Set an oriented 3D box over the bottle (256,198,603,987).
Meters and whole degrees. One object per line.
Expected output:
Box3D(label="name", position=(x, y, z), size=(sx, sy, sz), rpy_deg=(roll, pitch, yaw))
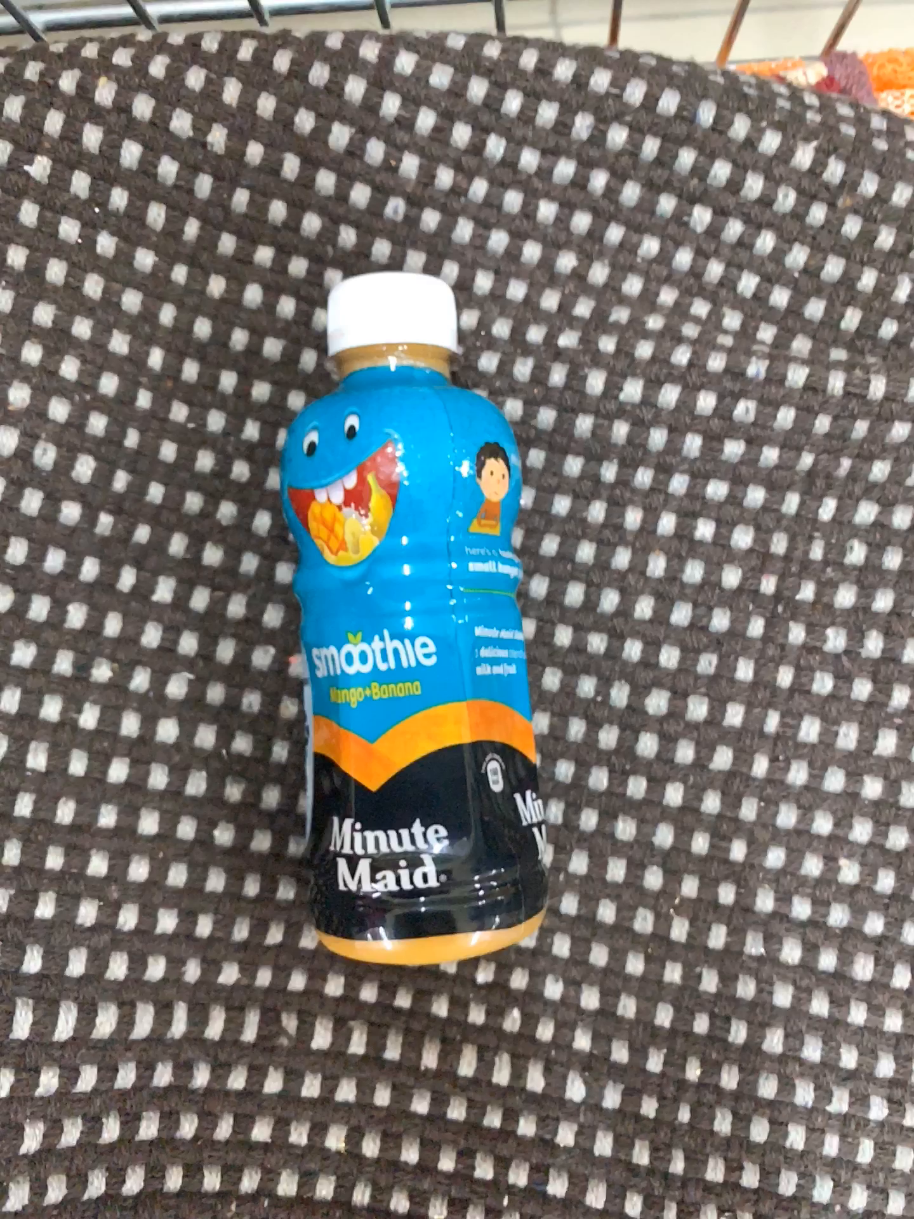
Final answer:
Box3D(label="bottle", position=(-0.007, -0.004, 0.218), size=(0.060, 0.040, 0.160), rpy_deg=(-4, 89, -3))
